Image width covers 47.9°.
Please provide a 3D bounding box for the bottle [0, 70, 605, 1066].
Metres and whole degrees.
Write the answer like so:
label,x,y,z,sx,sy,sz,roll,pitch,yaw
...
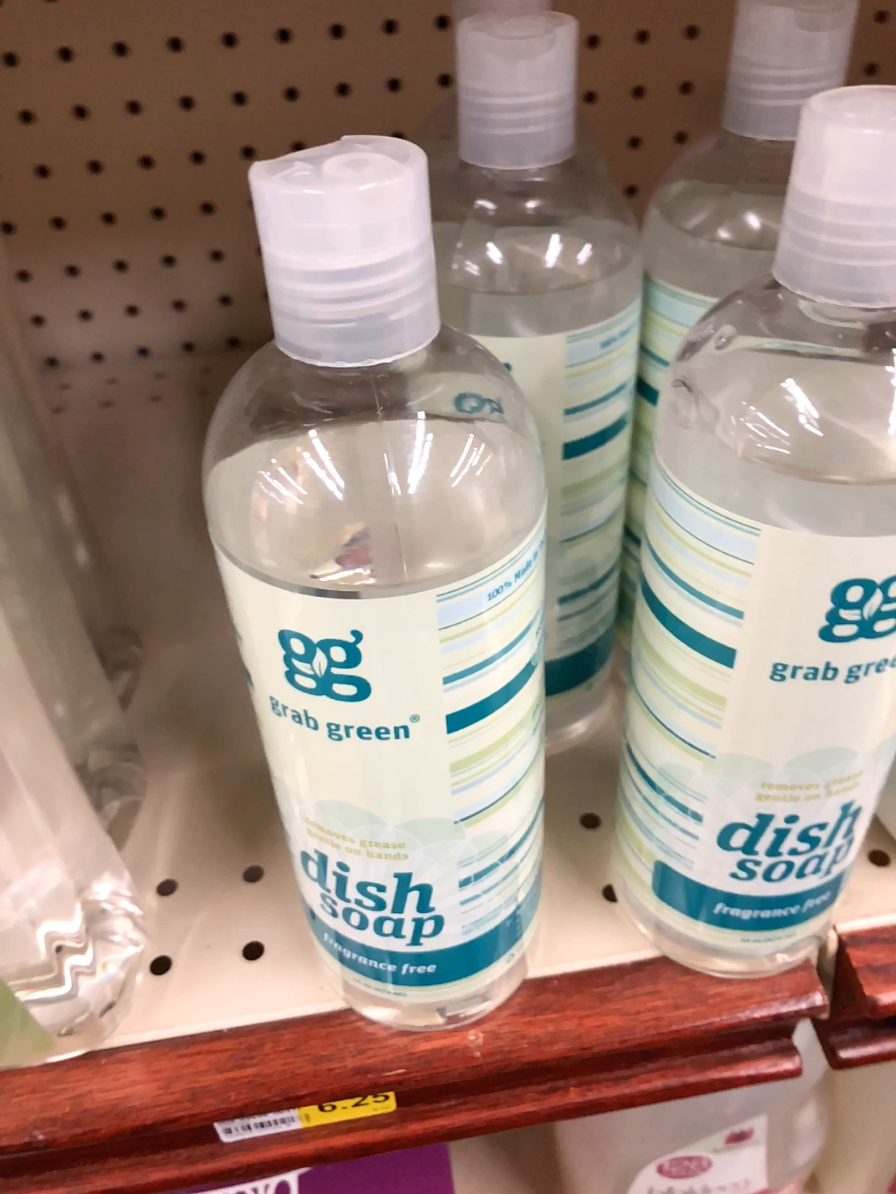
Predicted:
label,x,y,z,sx,sy,sz,roll,pitch,yaw
bottle,-0.013,0.013,0.201,0.070,0.200,0.060,6,42,11
